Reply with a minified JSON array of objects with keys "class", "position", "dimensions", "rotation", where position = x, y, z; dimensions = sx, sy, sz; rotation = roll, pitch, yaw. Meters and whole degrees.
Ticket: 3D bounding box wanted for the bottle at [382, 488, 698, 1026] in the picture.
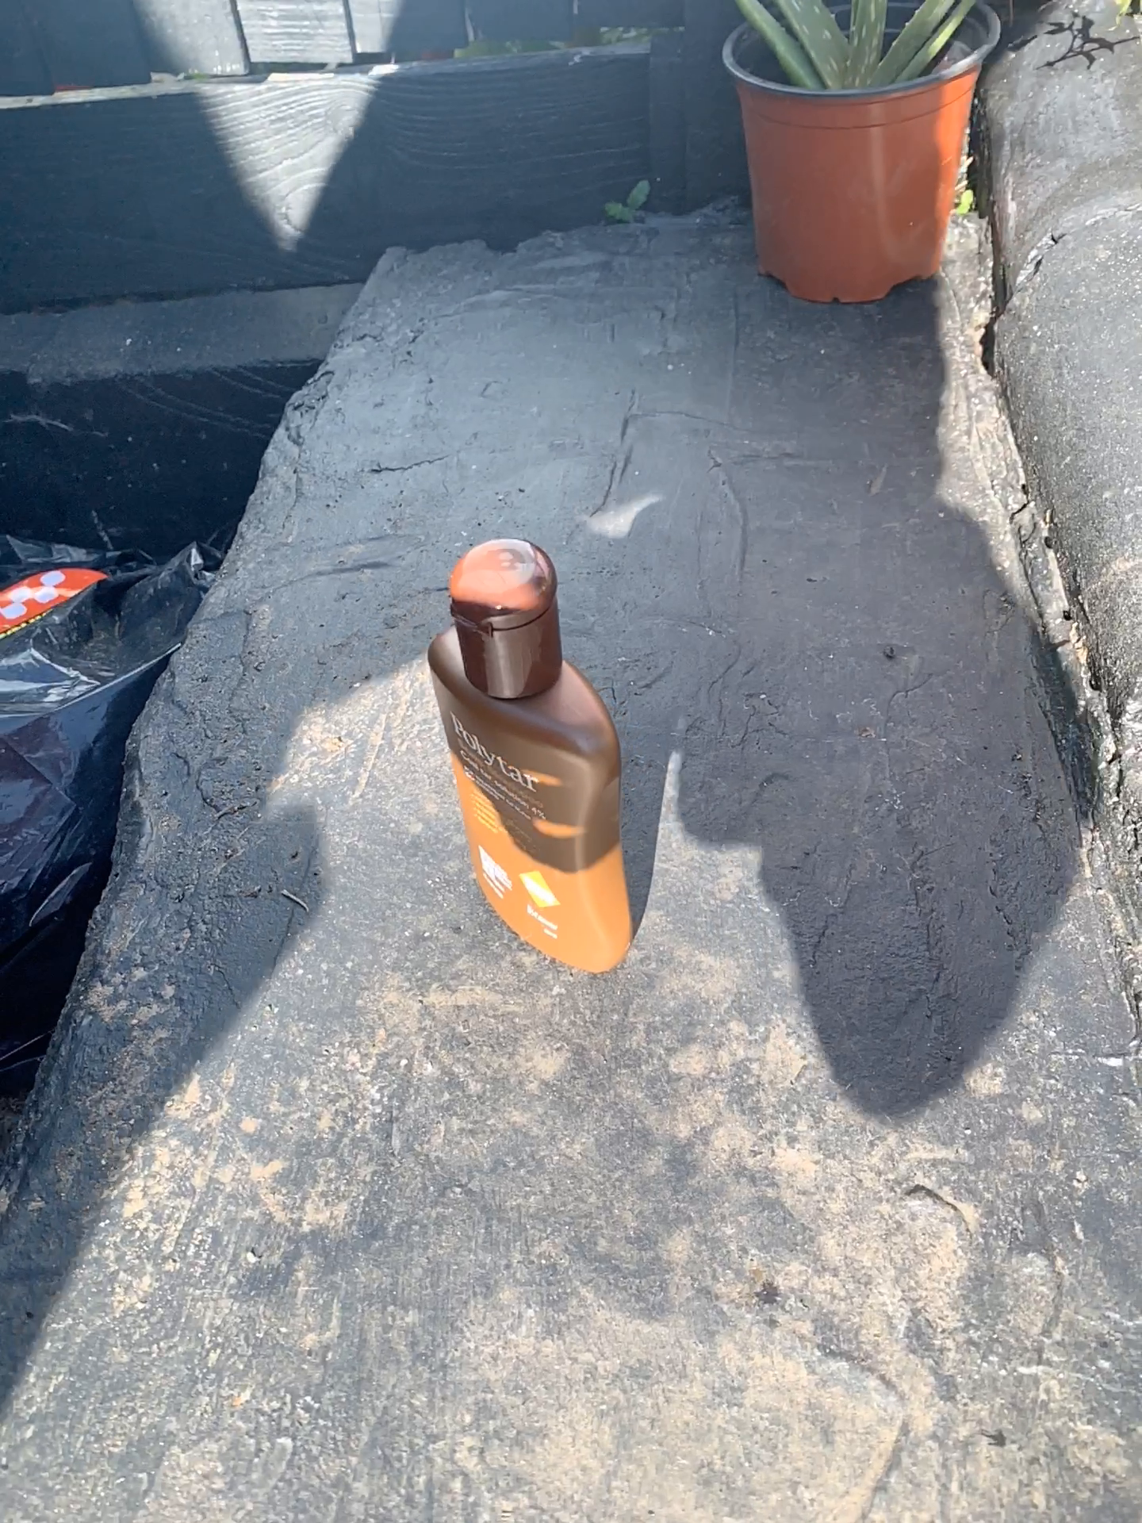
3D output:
[{"class":"bottle","position":[-0.003,0.005,0.343],"dimensions":[0.070,0.149,0.040],"rotation":[33,58,31]}]
